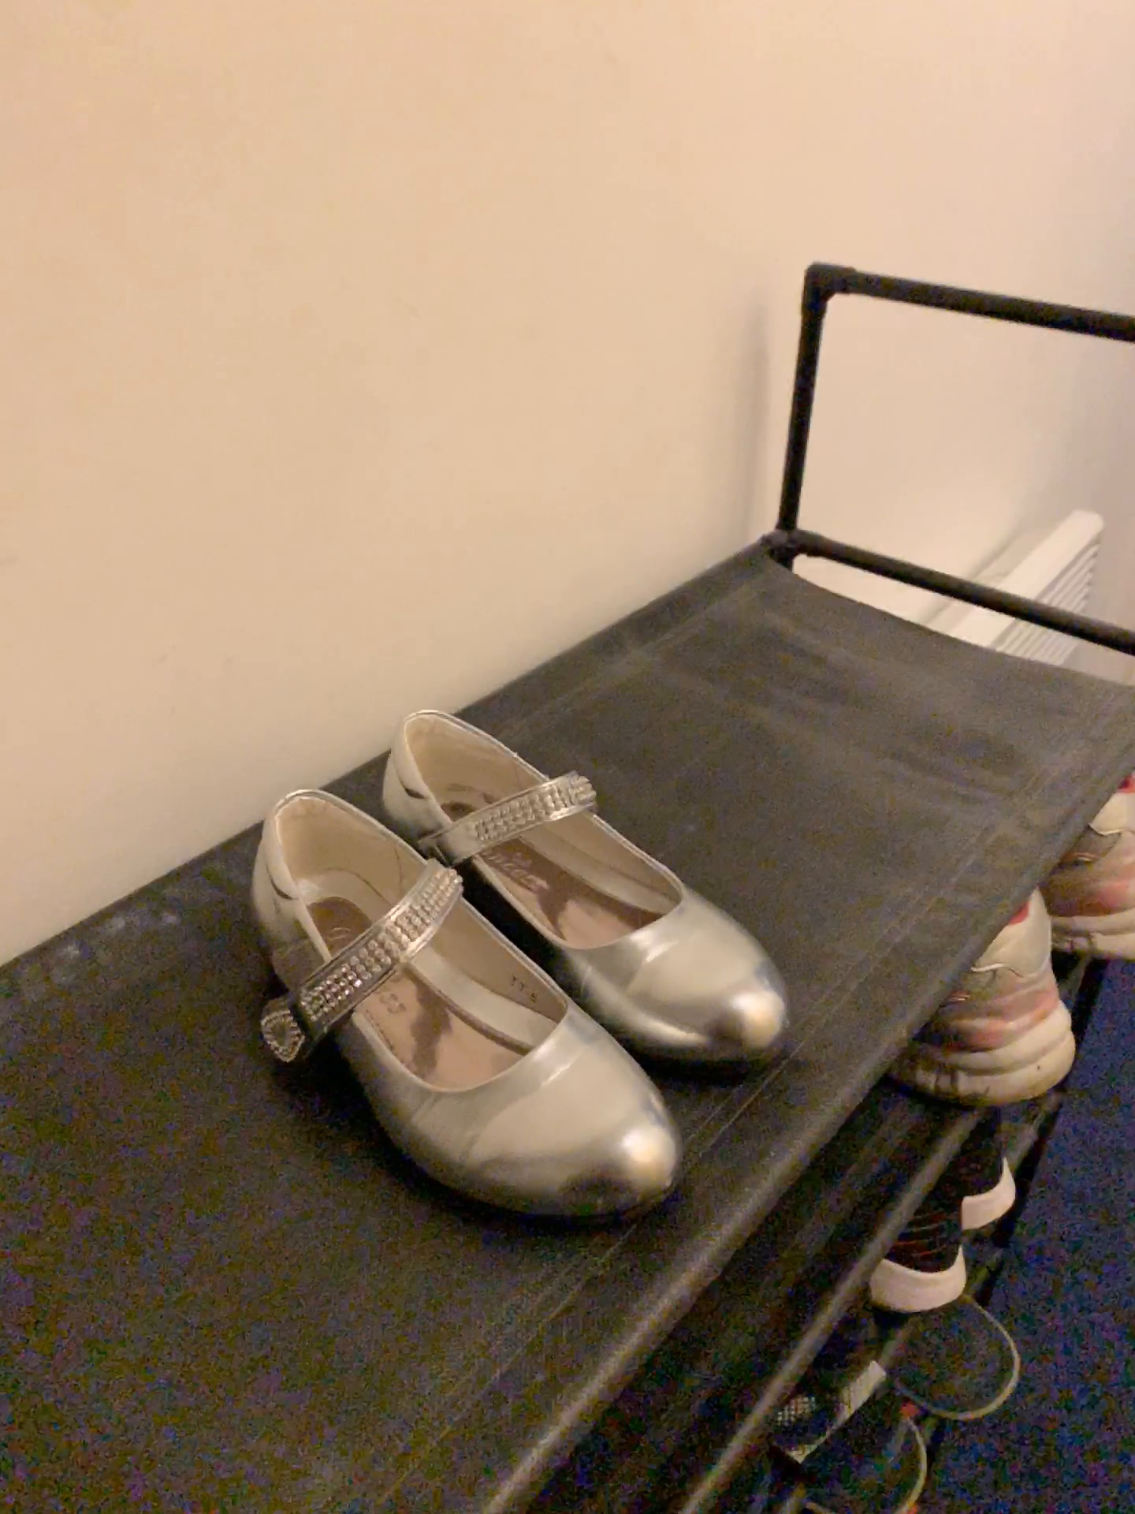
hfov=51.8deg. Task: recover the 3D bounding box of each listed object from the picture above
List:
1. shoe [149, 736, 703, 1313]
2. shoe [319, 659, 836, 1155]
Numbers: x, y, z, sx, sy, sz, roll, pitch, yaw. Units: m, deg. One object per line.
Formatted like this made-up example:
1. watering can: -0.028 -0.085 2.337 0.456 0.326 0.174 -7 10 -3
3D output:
1. shoe: -0.051 0.082 0.416 0.181 0.089 0.091 27 47 36
2. shoe: 0.001 0.048 0.460 0.181 0.089 0.091 27 47 36
